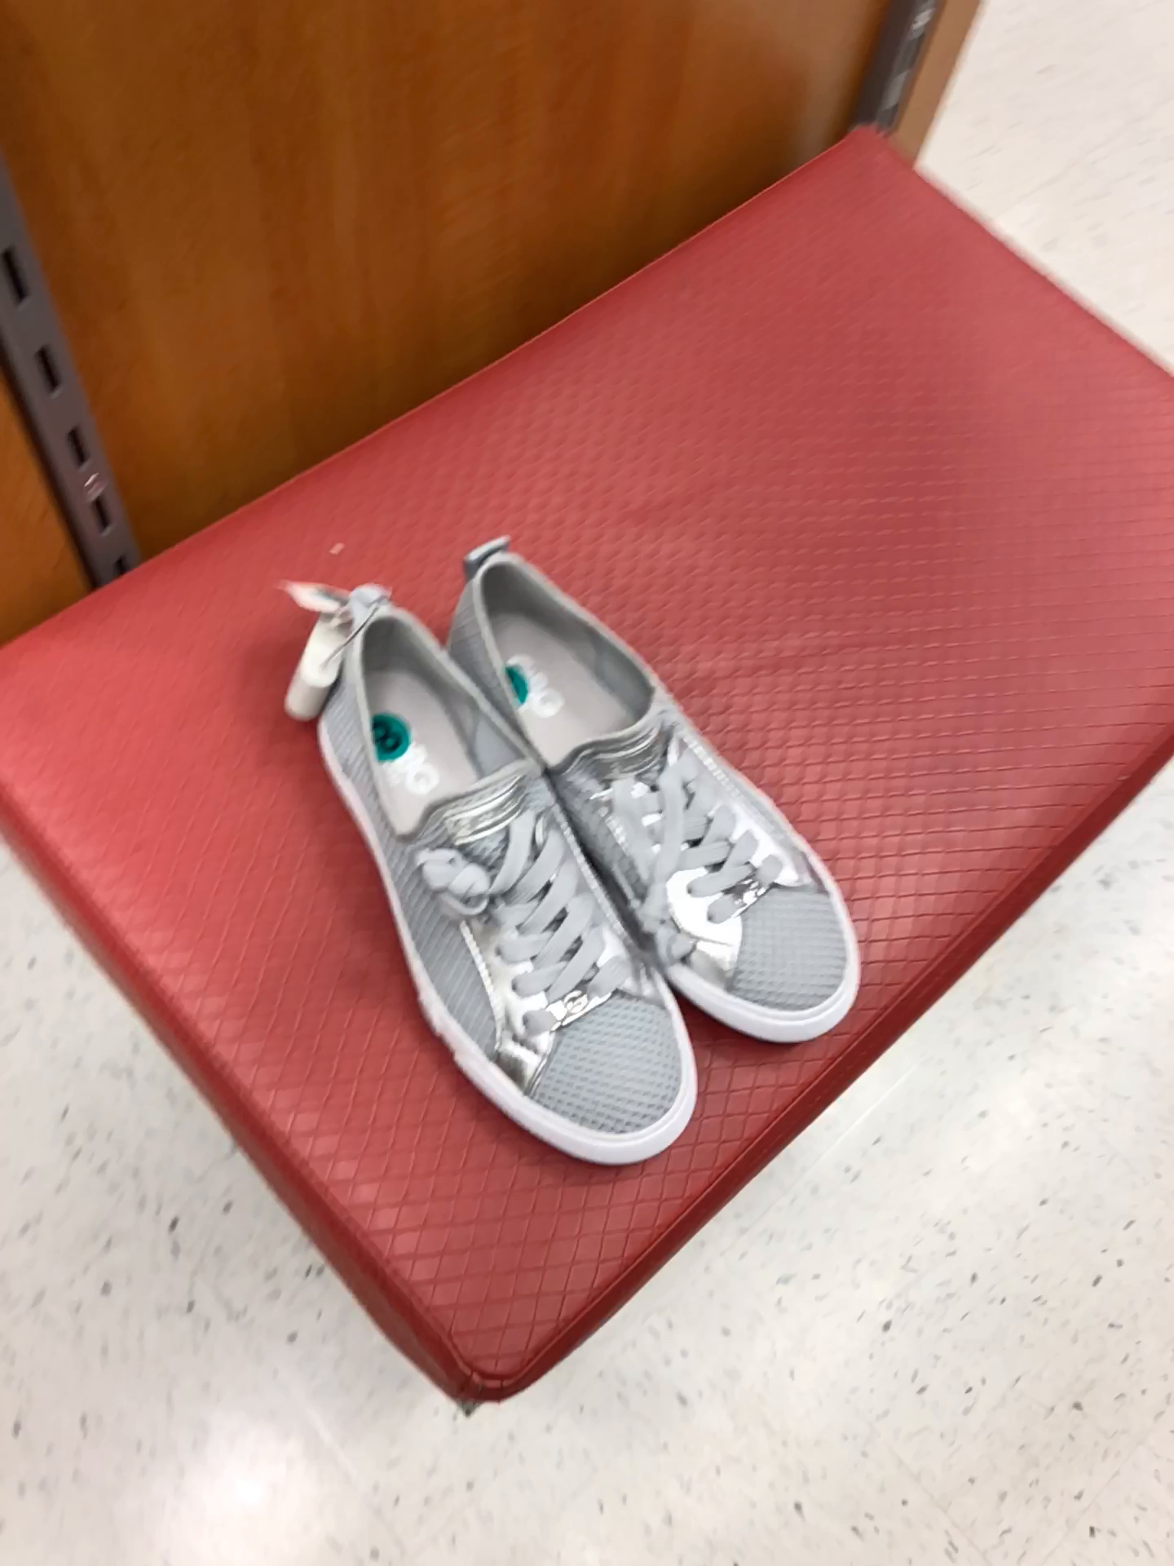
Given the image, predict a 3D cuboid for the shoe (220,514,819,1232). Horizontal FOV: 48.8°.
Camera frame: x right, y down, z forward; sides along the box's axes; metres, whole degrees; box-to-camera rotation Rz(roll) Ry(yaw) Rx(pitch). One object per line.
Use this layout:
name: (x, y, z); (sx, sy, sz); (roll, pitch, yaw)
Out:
shoe: (-0.037, 0.034, 0.543); (0.106, 0.097, 0.268); (-29, 71, -19)

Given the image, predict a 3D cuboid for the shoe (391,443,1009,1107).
shoe: (0.036, -0.007, 0.572); (0.106, 0.095, 0.268); (-34, 73, -20)
